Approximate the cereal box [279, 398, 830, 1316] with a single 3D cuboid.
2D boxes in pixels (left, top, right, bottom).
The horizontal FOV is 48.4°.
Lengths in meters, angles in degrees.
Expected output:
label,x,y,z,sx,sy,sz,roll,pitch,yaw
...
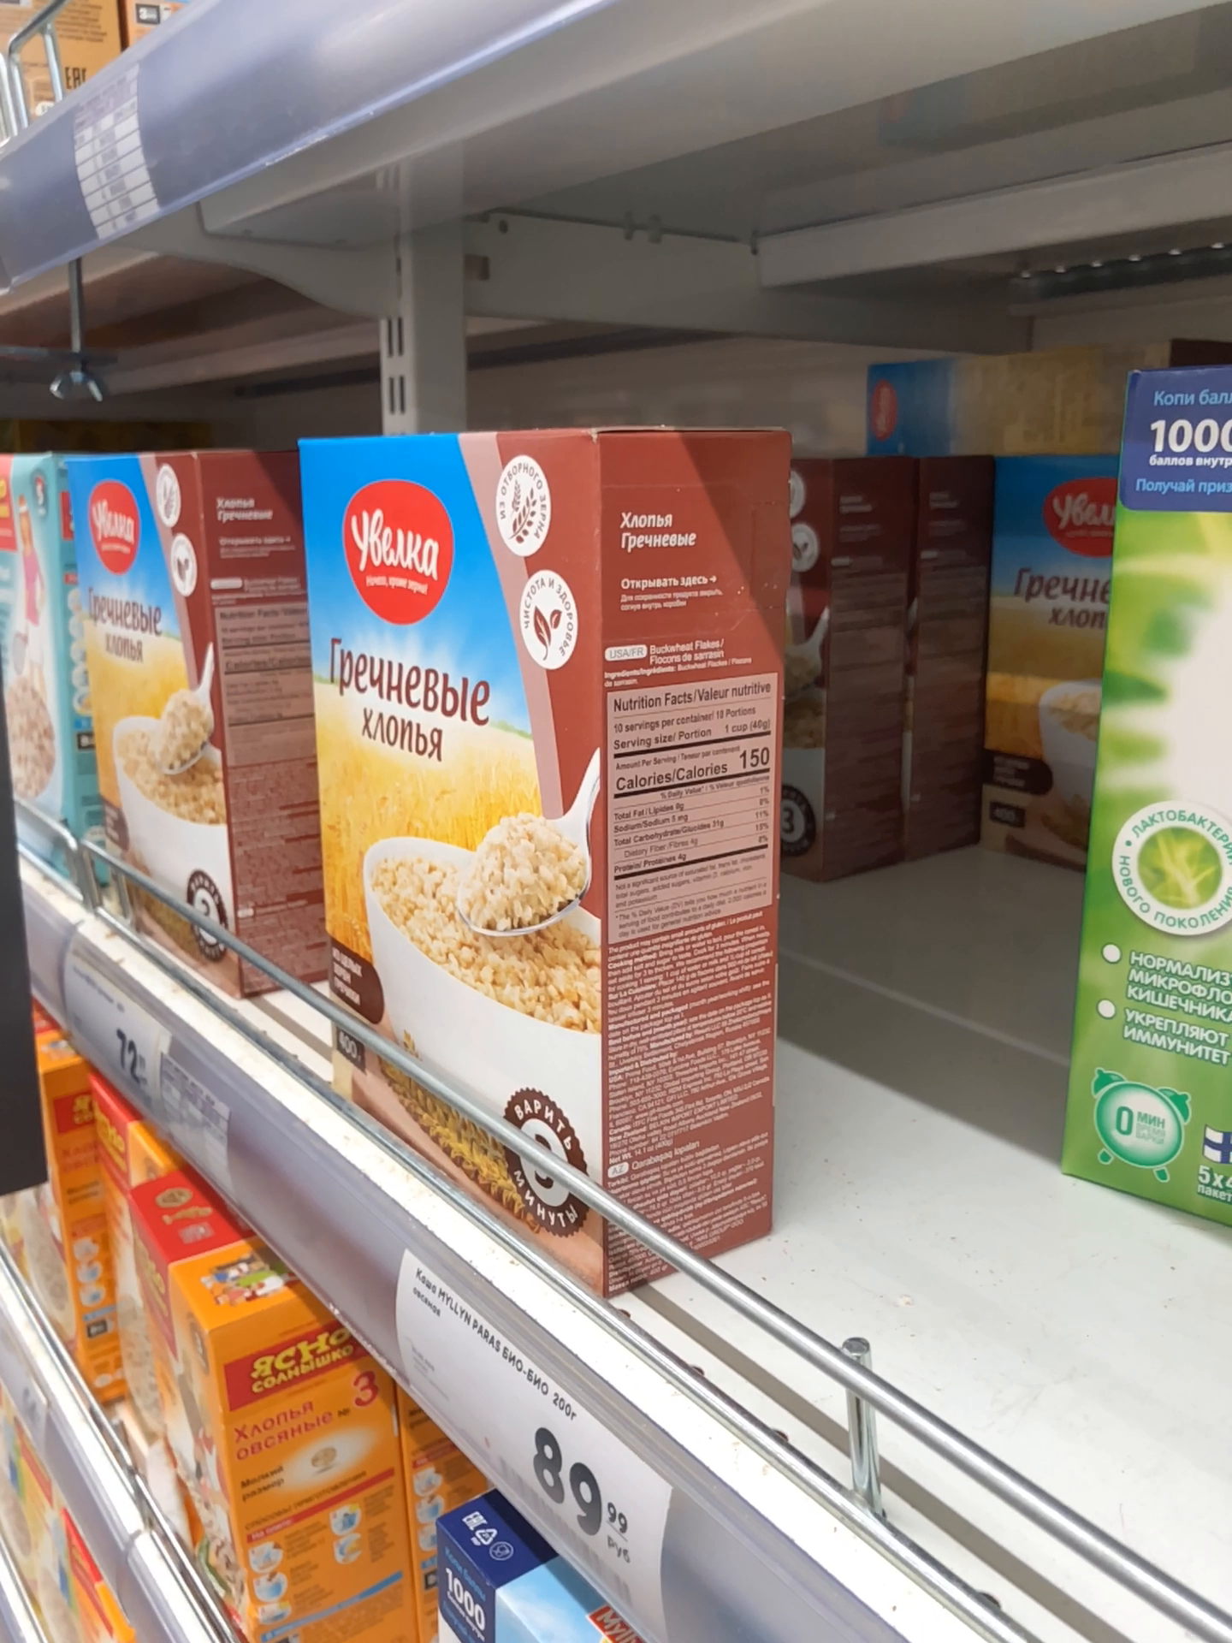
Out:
label,x,y,z,sx,sy,sz,roll,pitch,yaw
cereal box,-0.023,-0.004,0.350,0.060,0.189,0.150,-9,16,-34
